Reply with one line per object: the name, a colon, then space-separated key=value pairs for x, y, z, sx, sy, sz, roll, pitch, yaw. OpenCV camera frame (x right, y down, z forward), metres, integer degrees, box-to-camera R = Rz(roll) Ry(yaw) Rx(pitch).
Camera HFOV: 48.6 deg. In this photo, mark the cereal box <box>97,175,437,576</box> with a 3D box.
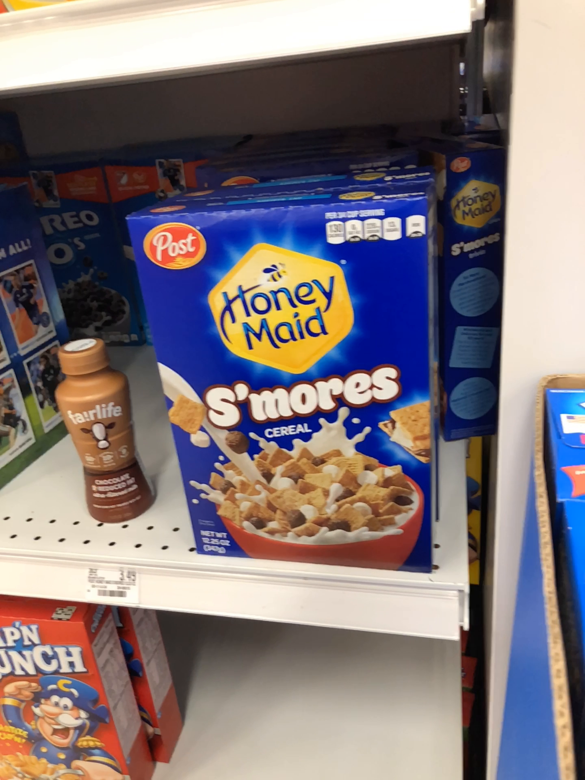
cereal box: x=-0.001 y=-0.002 z=0.467 sx=0.200 sy=0.269 sz=0.070 roll=1 pitch=28 yaw=15
